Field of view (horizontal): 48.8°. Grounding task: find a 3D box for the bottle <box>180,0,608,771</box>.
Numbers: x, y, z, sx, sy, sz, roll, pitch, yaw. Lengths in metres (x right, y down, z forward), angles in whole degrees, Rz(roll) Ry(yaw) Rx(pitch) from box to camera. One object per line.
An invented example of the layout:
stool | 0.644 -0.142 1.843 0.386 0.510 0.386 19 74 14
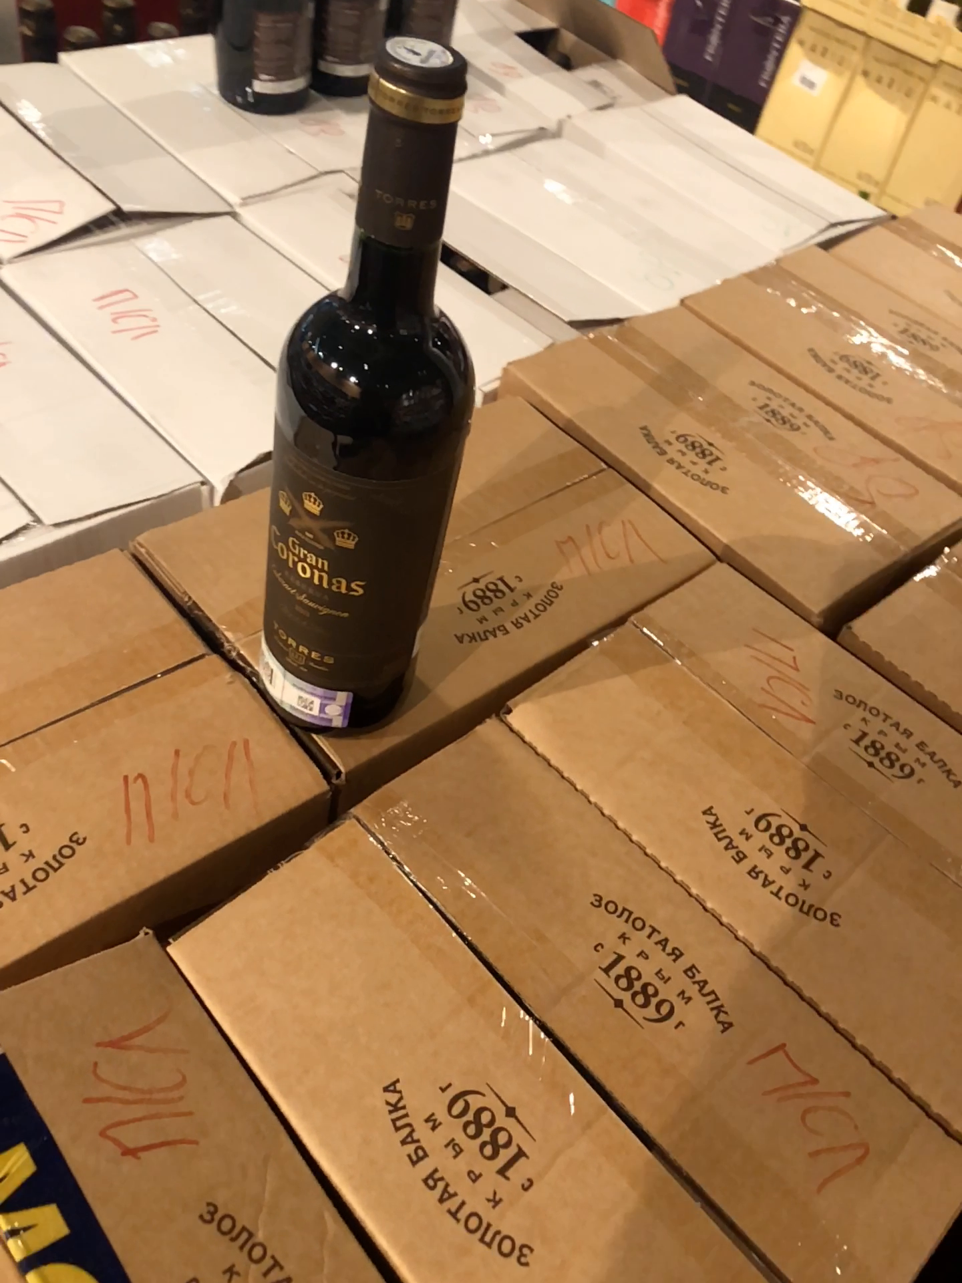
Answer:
bottle | -0.045 -0.082 0.416 0.090 0.278 0.090 6 47 -7
